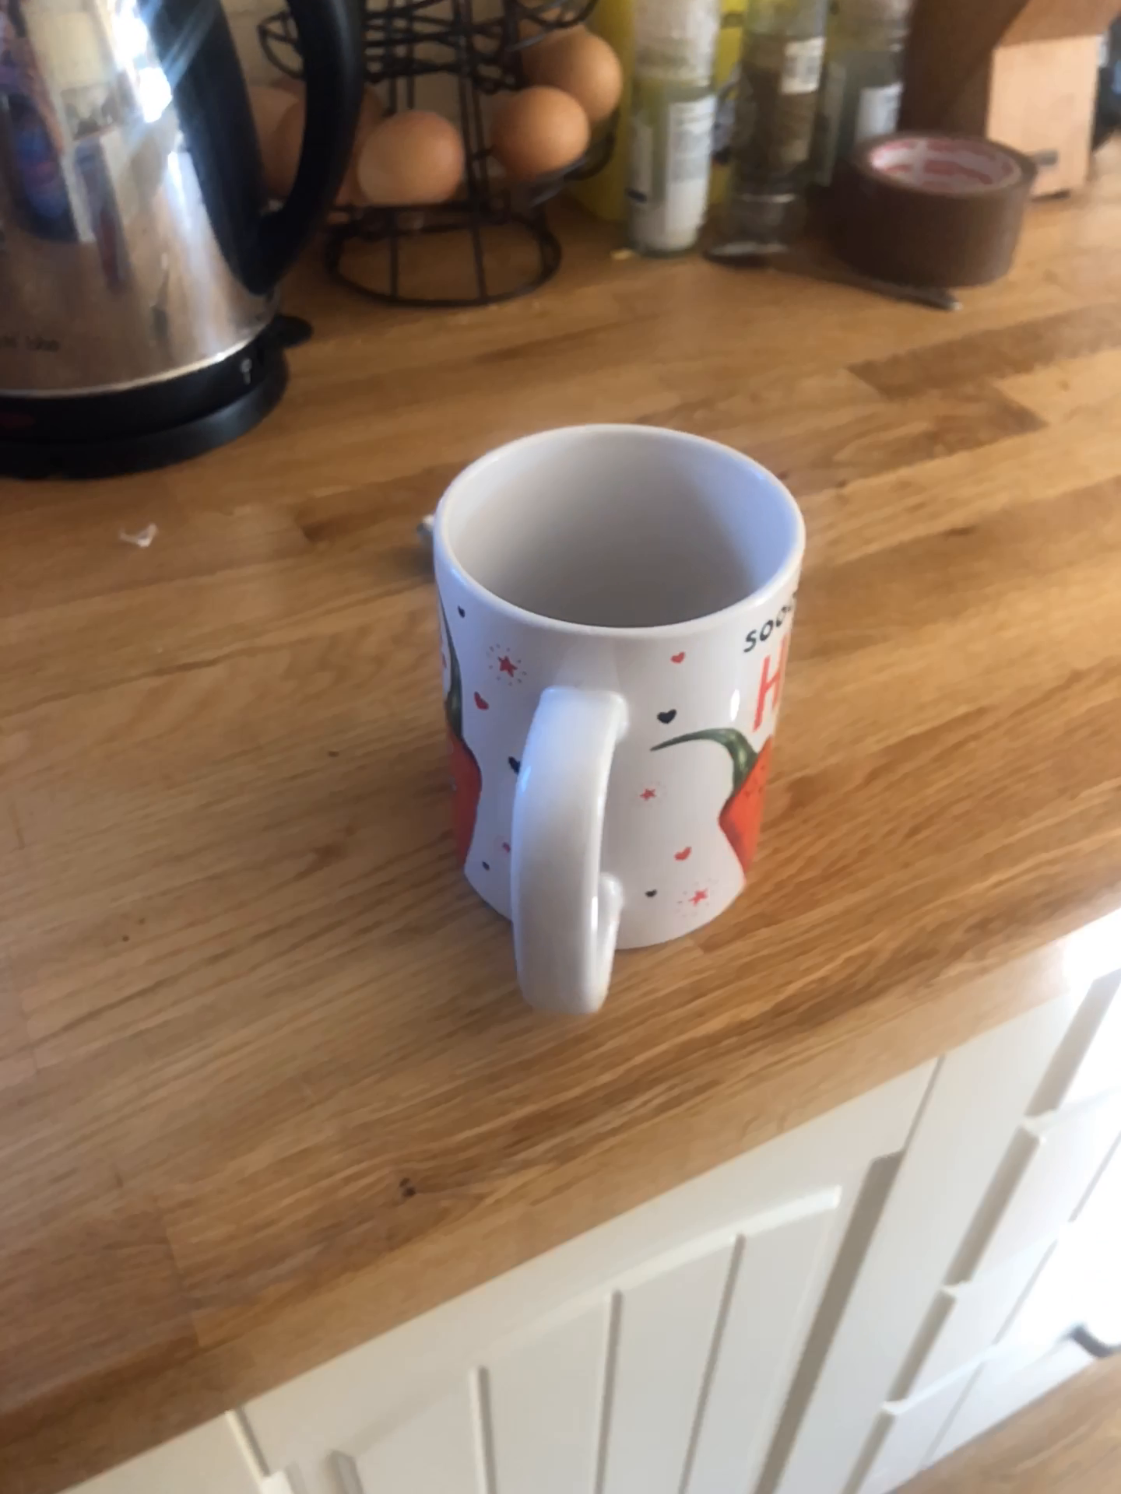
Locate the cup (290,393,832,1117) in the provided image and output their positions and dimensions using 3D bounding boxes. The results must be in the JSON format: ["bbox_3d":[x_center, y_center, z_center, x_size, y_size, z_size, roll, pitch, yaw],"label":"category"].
[{"bbox_3d":[0.009,-0.003,0.320,0.097,0.109,0.137,9,43,8],"label":"cup"}]
